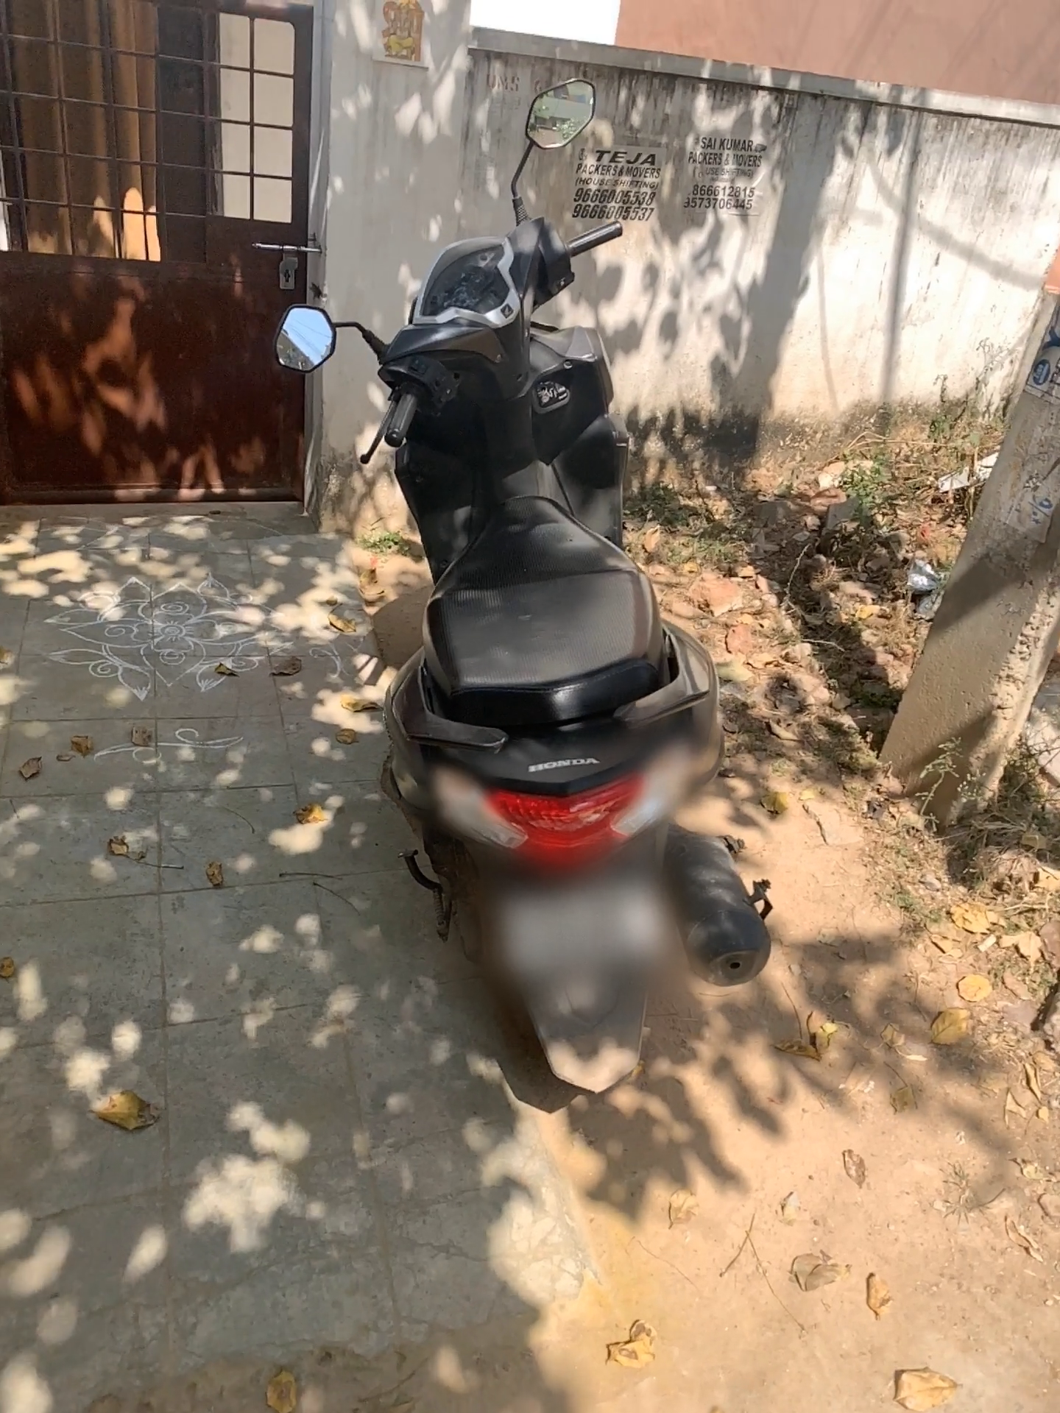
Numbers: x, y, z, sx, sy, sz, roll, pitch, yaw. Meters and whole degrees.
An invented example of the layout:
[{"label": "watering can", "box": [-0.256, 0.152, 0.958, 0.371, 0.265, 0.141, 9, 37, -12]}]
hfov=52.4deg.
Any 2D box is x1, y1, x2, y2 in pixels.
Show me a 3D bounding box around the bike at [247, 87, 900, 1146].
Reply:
[{"label": "bike", "box": [-0.171, -0.292, 1.935, 0.606, 1.176, 1.515, 0, 33, -15]}]
